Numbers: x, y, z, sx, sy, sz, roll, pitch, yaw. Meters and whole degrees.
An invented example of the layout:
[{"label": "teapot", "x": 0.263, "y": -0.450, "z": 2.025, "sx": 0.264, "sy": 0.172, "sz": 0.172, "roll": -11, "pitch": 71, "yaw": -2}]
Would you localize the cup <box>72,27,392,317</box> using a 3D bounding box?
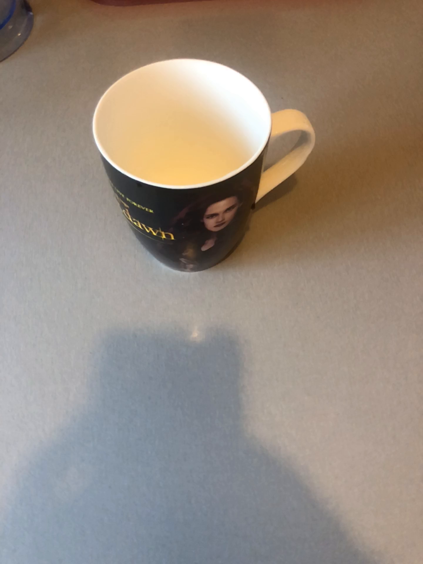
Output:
[{"label": "cup", "x": 0.007, "y": -0.058, "z": 0.268, "sx": 0.130, "sy": 0.100, "sz": 0.090, "roll": -16, "pitch": 64, "yaw": -7}]
